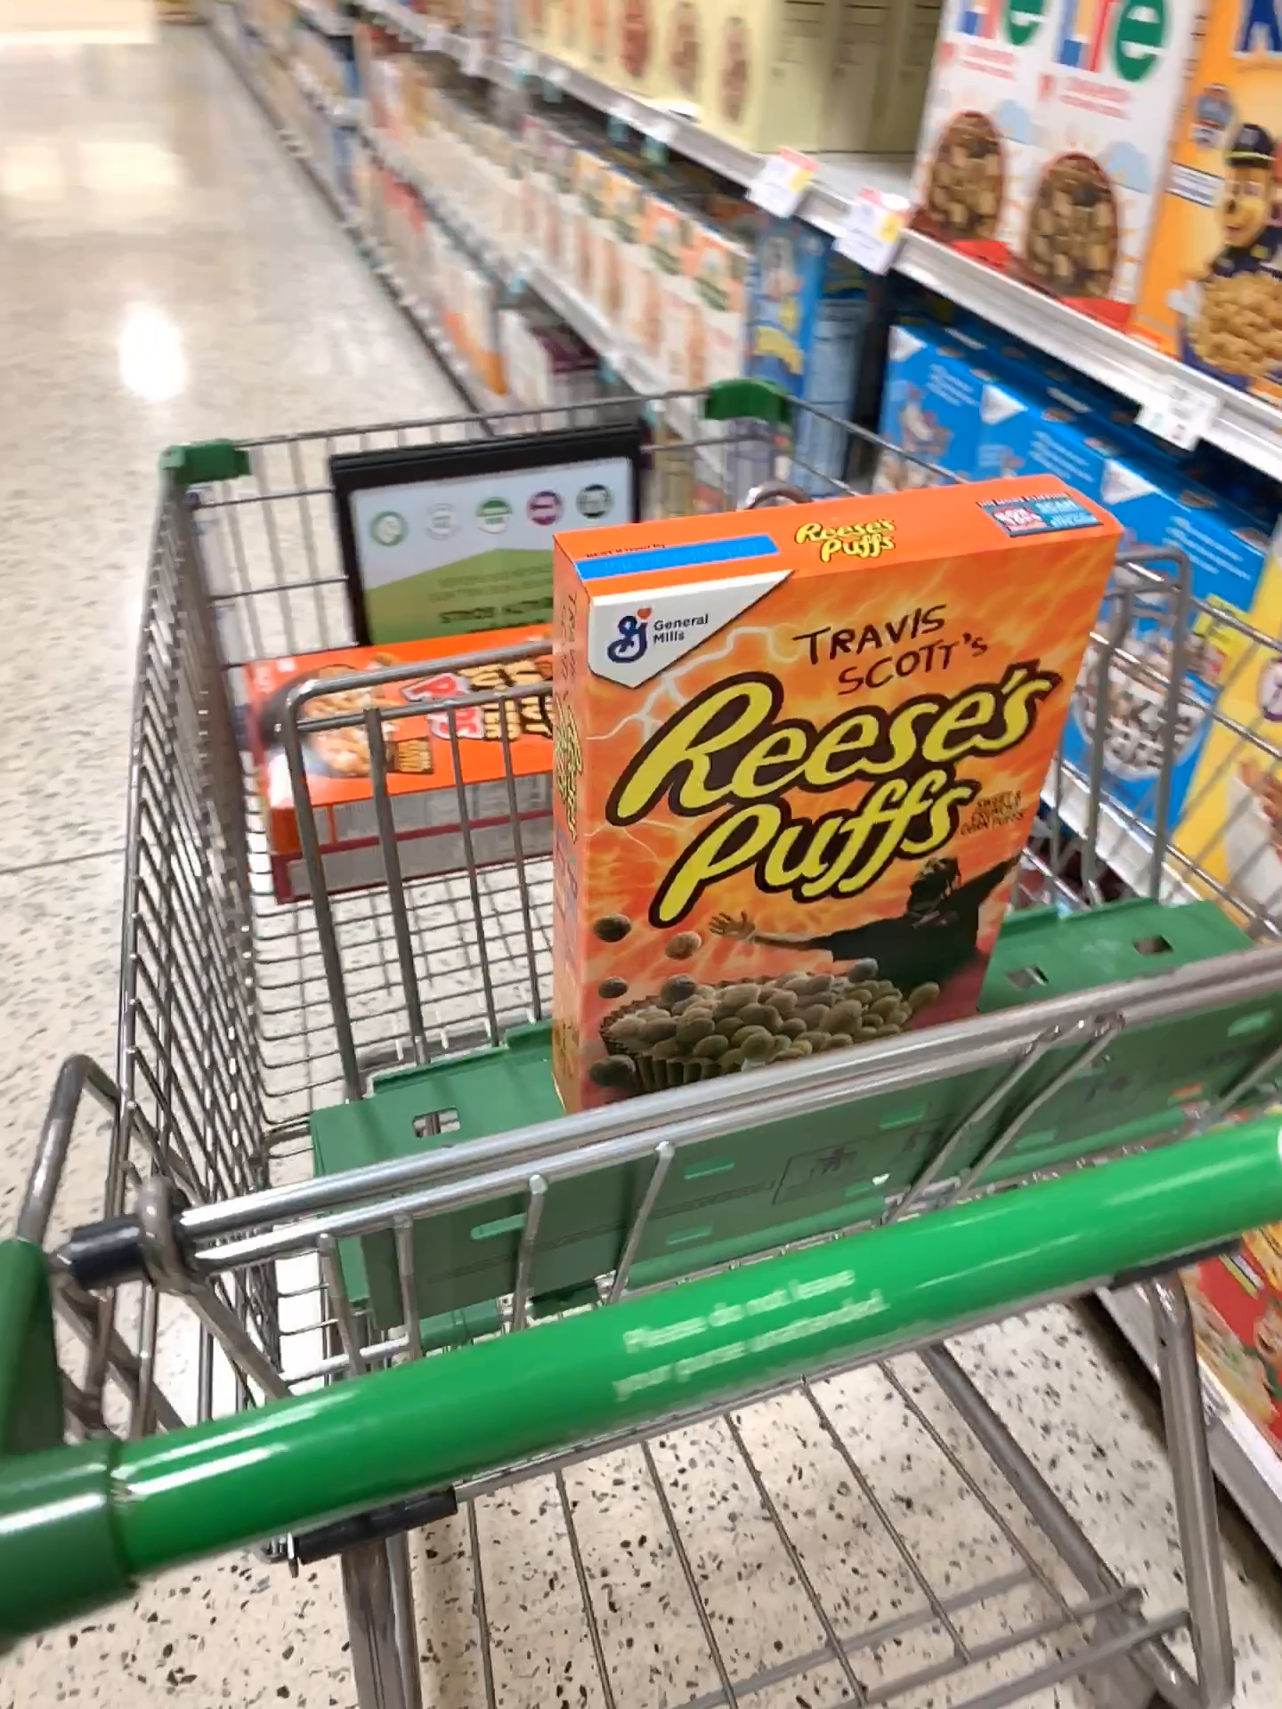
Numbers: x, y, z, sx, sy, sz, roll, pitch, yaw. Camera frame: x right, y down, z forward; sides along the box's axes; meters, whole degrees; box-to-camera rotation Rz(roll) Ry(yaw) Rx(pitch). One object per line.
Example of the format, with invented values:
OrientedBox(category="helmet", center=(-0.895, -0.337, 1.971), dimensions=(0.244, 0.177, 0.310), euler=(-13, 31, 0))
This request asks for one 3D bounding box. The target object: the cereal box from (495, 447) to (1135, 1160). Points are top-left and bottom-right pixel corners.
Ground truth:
OrientedBox(category="cereal box", center=(0.055, -0.009, 0.527), dimensions=(0.210, 0.277, 0.050), euler=(-11, 42, -15))
